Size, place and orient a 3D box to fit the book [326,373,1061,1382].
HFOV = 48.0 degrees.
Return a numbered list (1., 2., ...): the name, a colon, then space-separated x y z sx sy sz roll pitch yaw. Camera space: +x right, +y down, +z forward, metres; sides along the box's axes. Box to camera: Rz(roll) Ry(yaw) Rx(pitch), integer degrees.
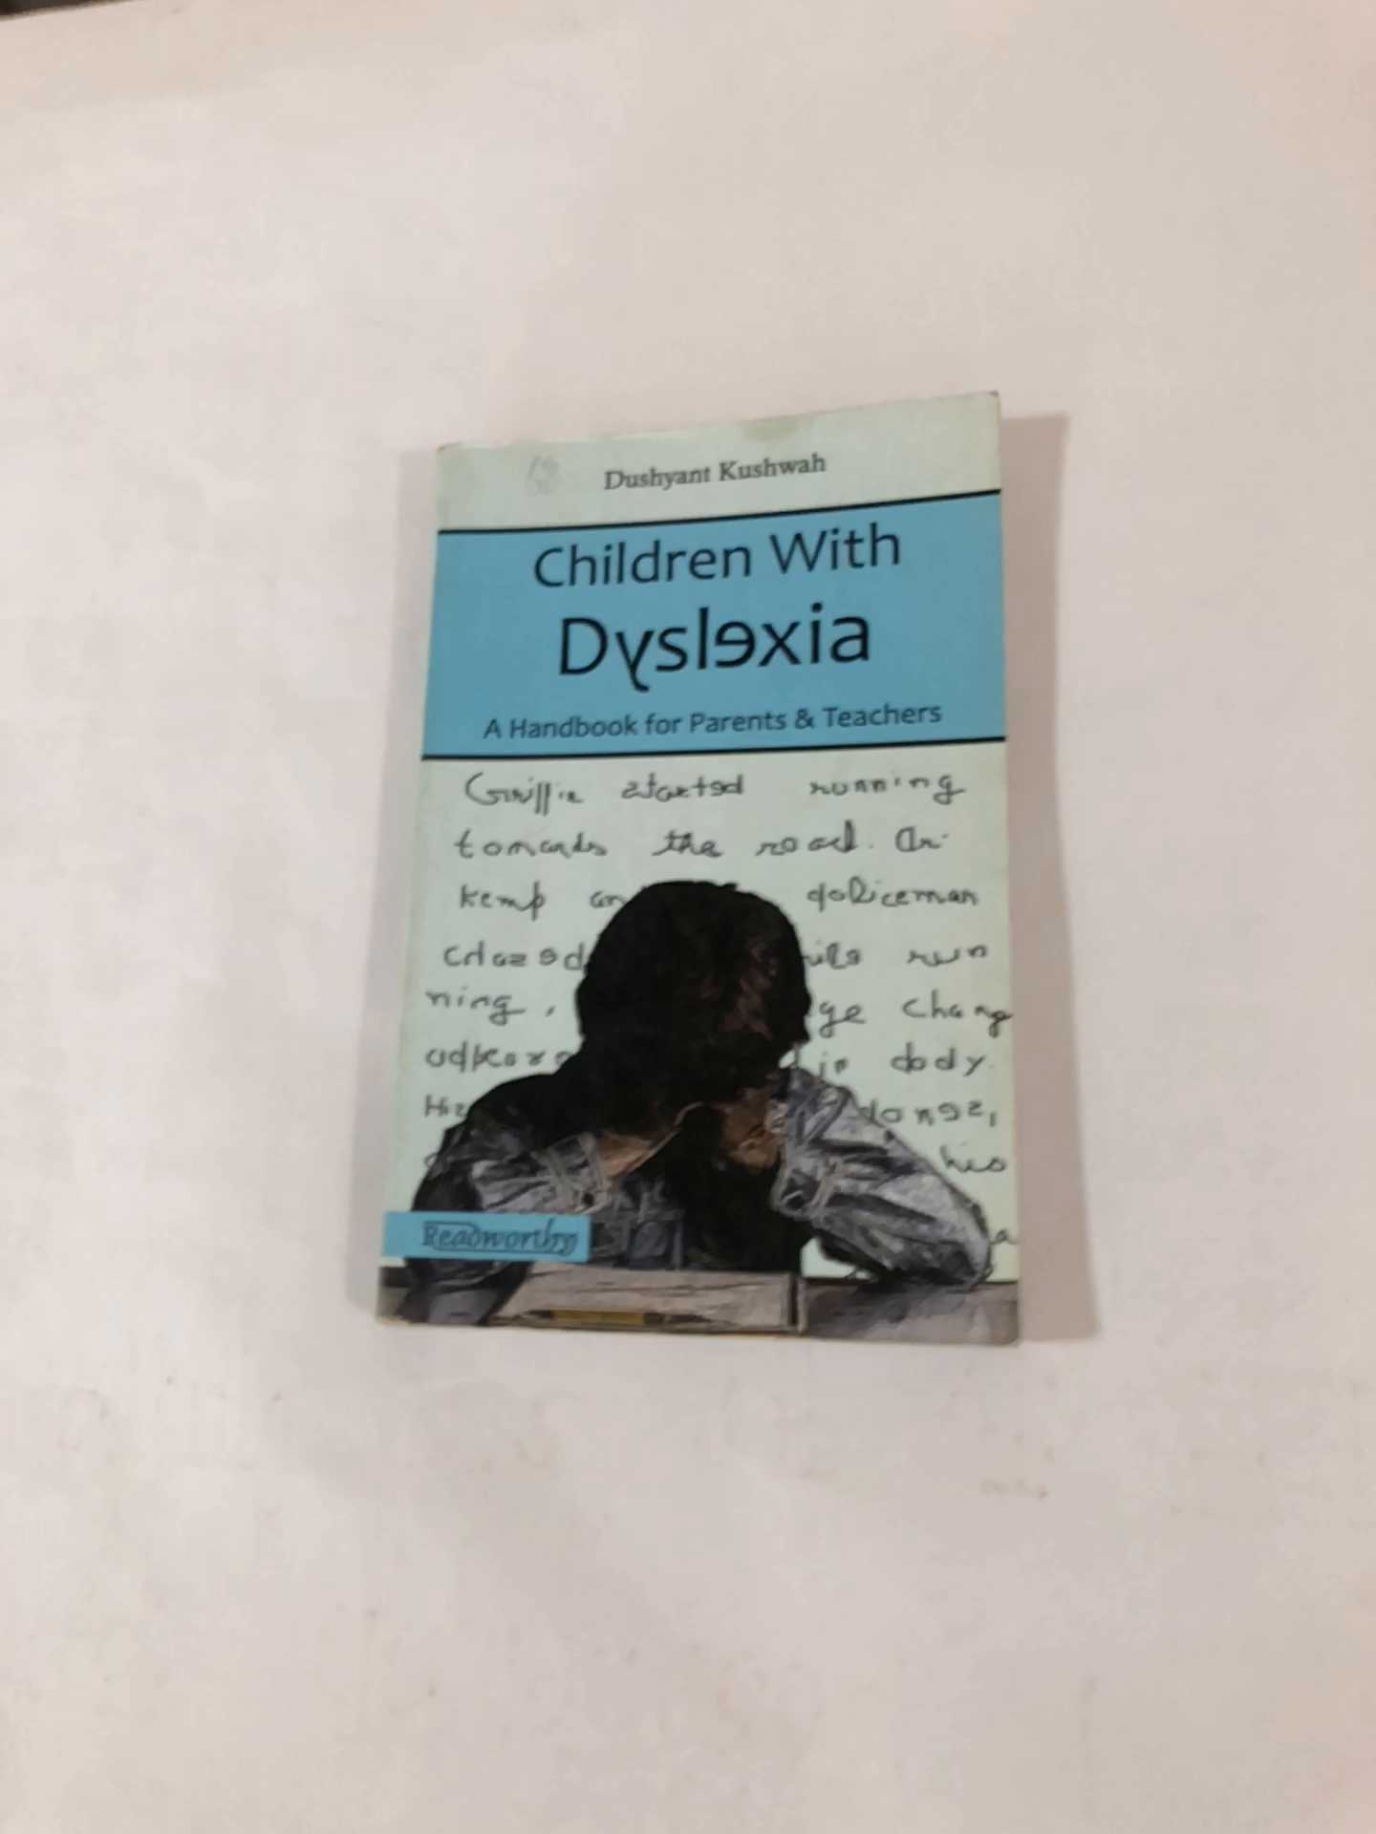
1. book: 0.002 -0.011 0.352 0.150 0.030 0.220 -2 75 11
